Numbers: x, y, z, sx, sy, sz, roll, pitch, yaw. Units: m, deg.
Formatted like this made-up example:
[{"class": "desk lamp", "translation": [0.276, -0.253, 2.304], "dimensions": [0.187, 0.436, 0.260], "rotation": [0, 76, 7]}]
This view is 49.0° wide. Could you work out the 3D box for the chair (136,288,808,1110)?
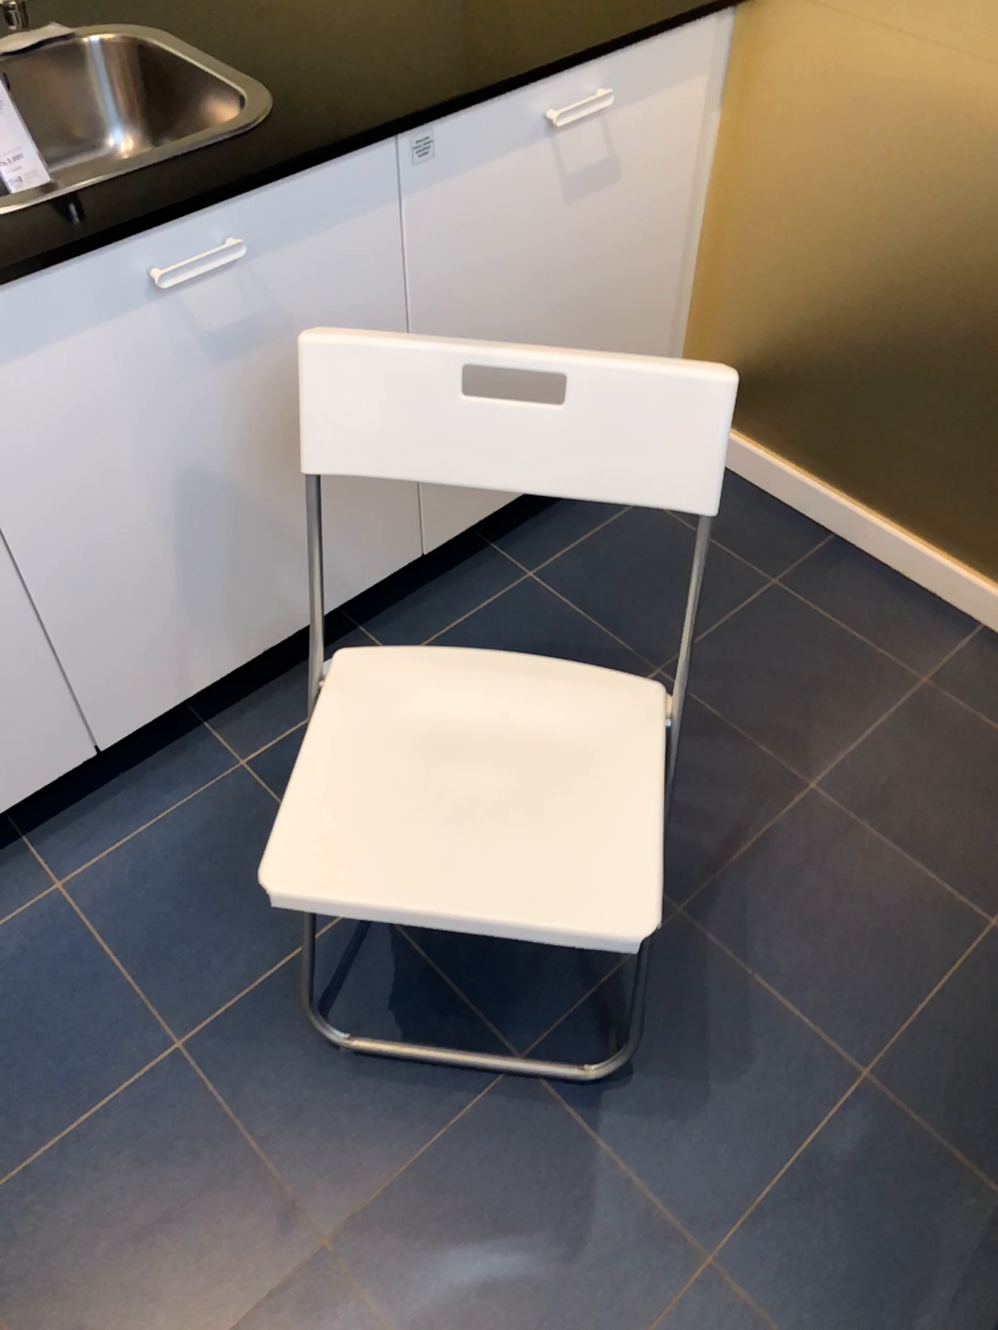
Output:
[{"class": "chair", "translation": [0.005, 0.078, 1.254], "dimensions": [0.490, 0.776, 0.523], "rotation": [6, 49, 4]}]
